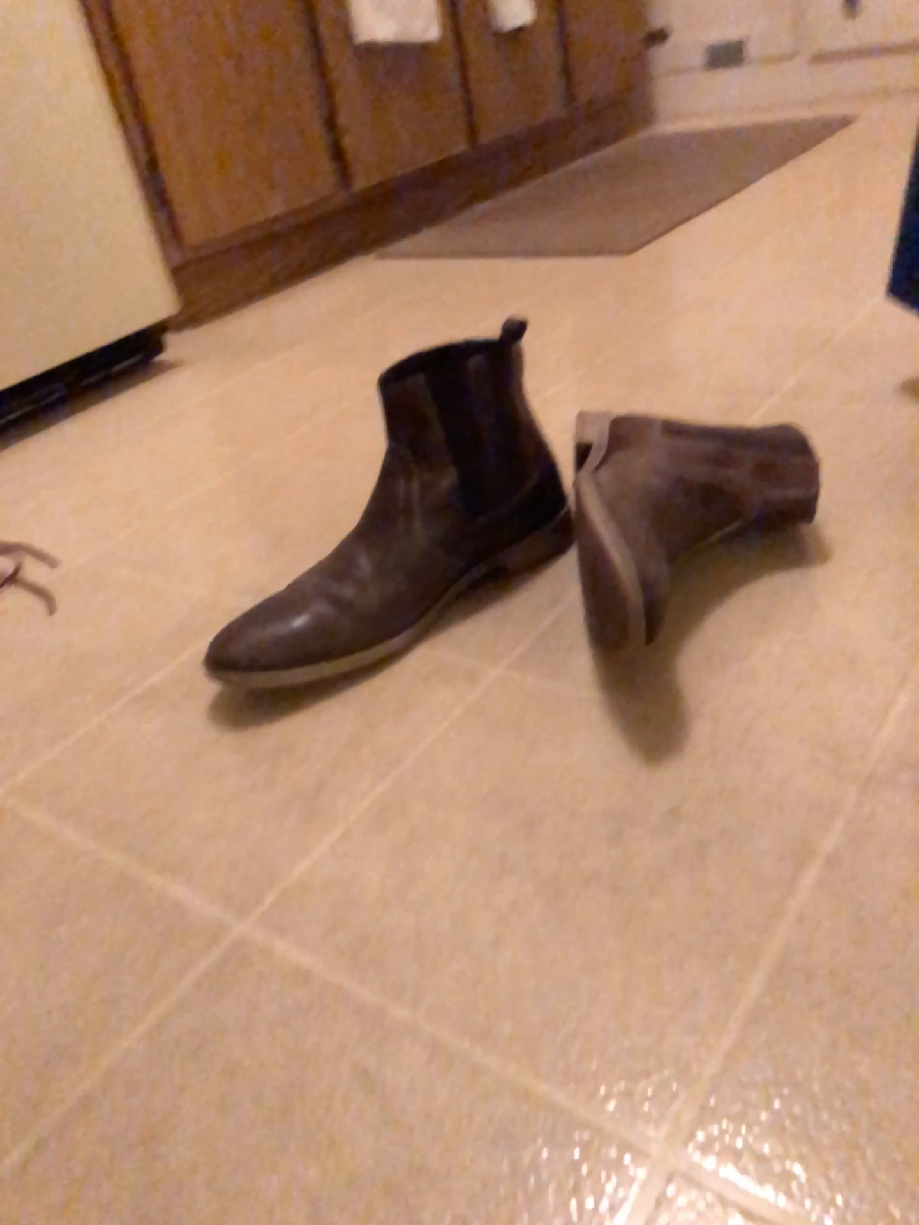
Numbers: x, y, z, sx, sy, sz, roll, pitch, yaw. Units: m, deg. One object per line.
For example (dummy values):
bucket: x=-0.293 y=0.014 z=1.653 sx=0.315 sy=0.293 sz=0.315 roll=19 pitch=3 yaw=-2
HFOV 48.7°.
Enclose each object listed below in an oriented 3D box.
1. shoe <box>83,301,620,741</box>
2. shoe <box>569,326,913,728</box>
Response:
shoe: x=-0.055 y=-0.075 z=0.677 sx=0.314 sy=0.160 sz=0.112 roll=-27 pitch=34 yaw=-24
shoe: x=0.156 y=-0.073 z=0.651 sx=0.161 sy=0.111 sz=0.315 roll=-5 pitch=31 yaw=9
